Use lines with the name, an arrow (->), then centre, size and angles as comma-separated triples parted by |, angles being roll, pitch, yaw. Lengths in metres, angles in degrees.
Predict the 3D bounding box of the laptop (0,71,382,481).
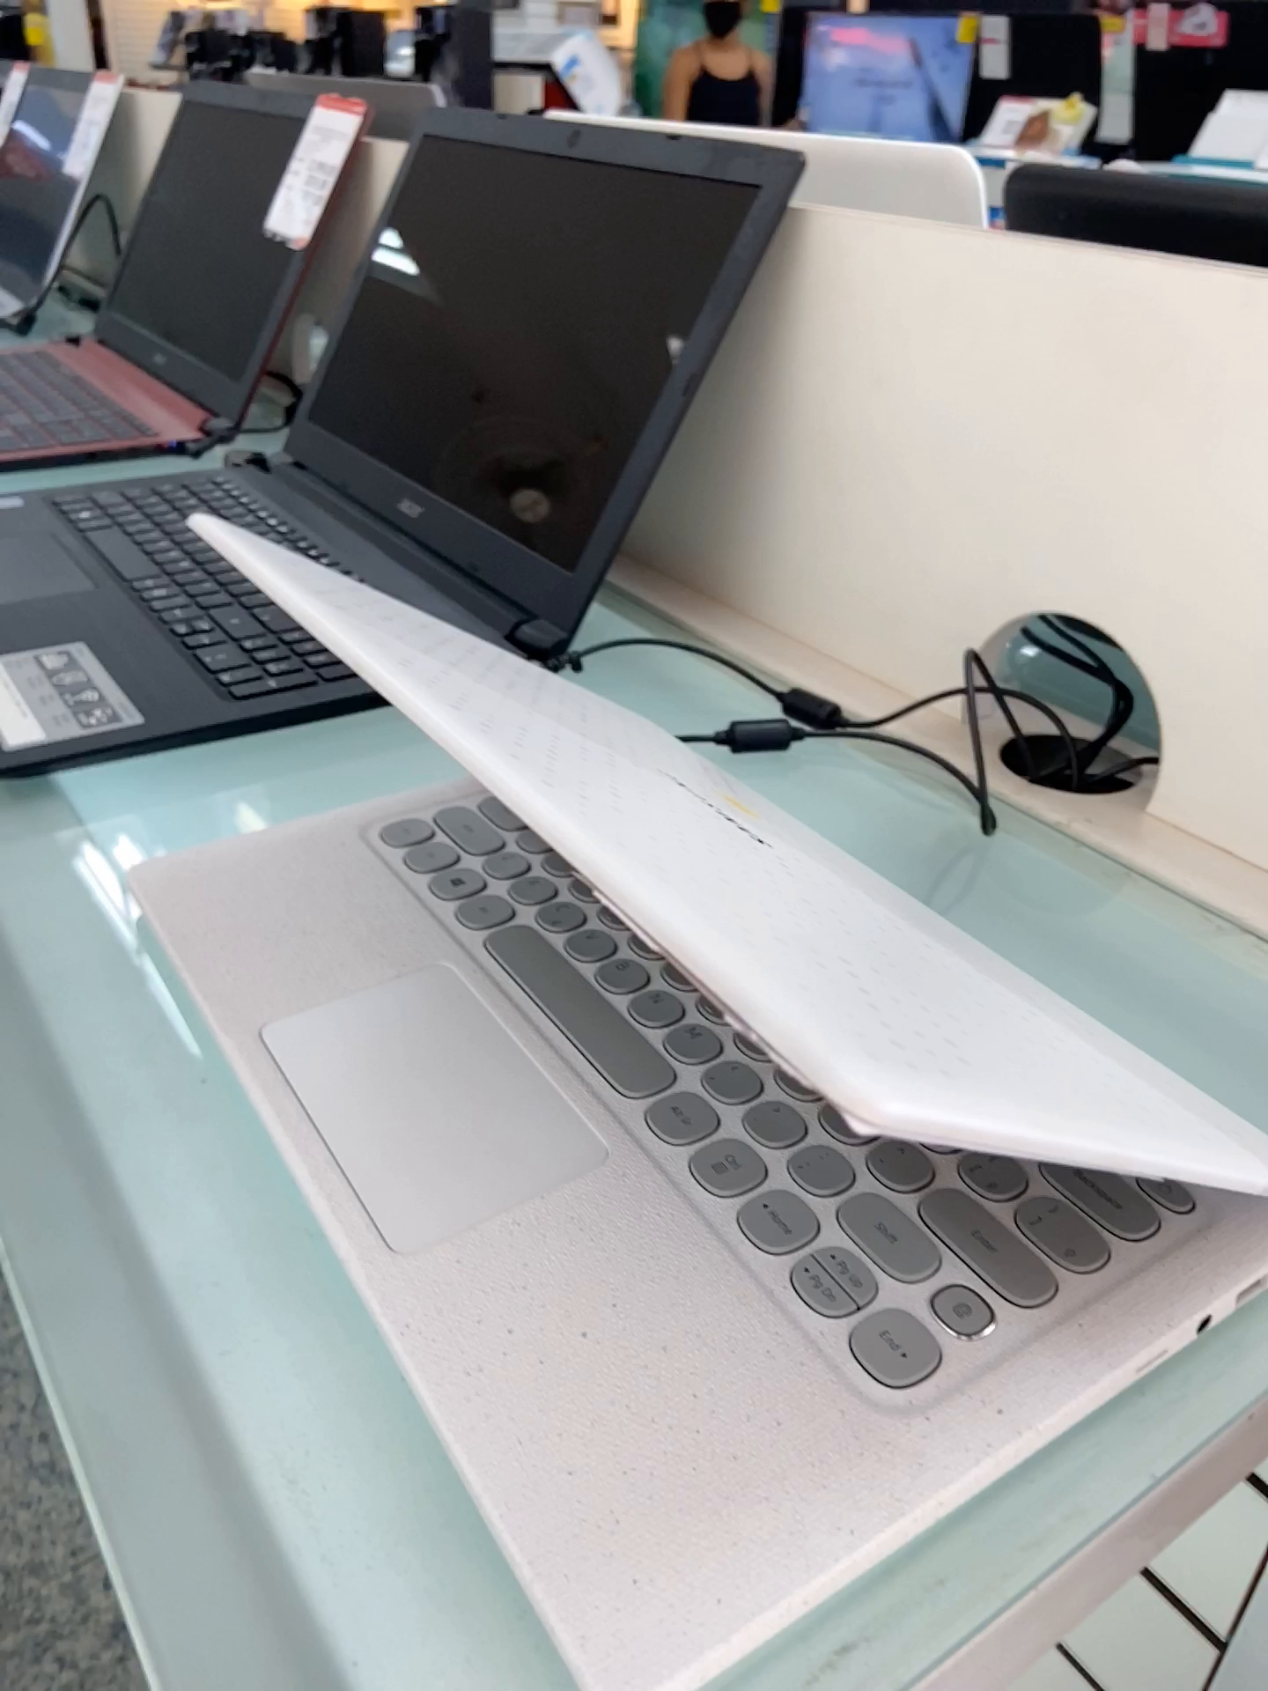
laptop -> -0.429, -0.437, 0.954 | 0.367, 0.198, 0.310 | -20, 38, -30

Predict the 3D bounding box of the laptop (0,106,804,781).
laptop -> -0.194, -0.251, 0.673 | 0.374, 0.213, 0.402 | -16, 34, -28

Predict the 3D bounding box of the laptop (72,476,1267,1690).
laptop -> 0.002, 0.003, 0.351 | 0.206, 0.107, 0.313 | -17, 34, -28
